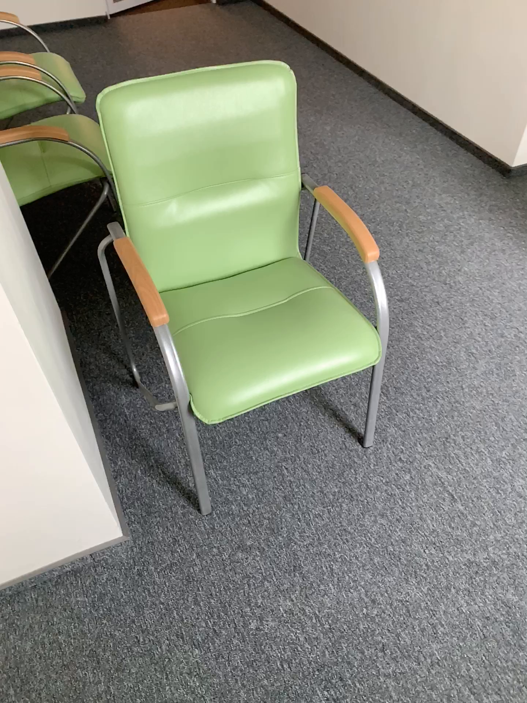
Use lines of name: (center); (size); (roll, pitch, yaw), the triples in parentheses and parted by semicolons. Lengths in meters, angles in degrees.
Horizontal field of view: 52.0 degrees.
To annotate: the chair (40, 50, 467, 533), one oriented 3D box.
chair: (-0.057, -0.129, 1.353); (0.621, 0.876, 0.622); (-18, 50, -15)
